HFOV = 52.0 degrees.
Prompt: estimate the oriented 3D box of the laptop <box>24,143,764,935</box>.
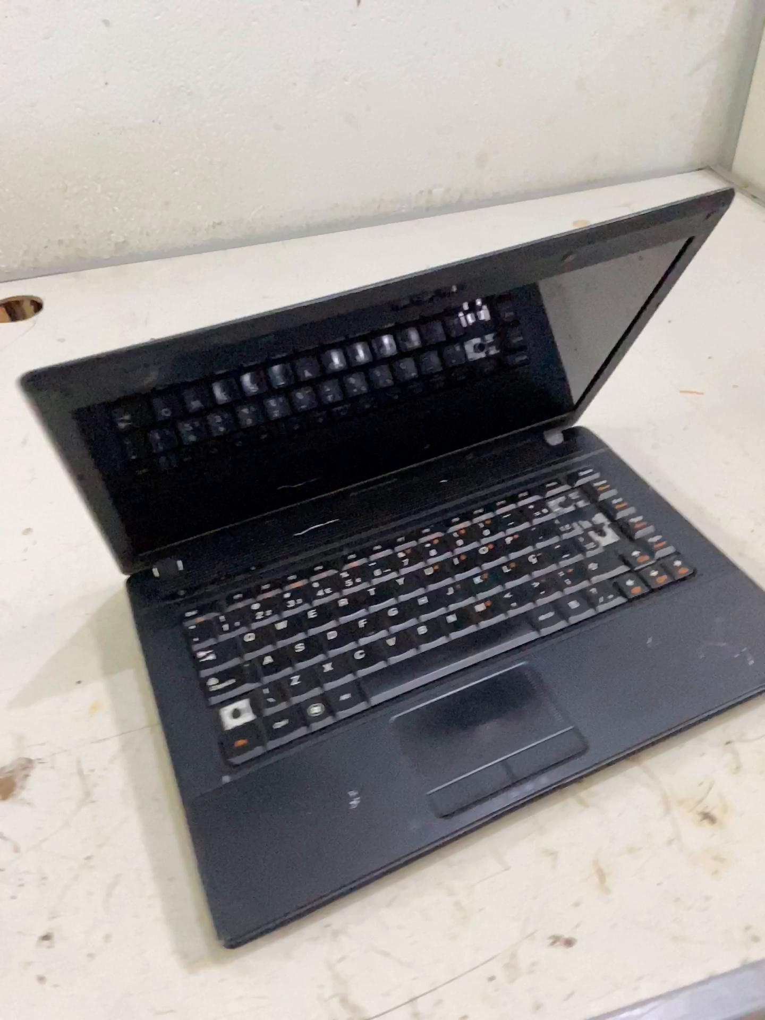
[{"bbox_3d":[0.038,-0.016,0.387,0.333,0.194,0.224,-19,44,-16],"label":"laptop"}]
